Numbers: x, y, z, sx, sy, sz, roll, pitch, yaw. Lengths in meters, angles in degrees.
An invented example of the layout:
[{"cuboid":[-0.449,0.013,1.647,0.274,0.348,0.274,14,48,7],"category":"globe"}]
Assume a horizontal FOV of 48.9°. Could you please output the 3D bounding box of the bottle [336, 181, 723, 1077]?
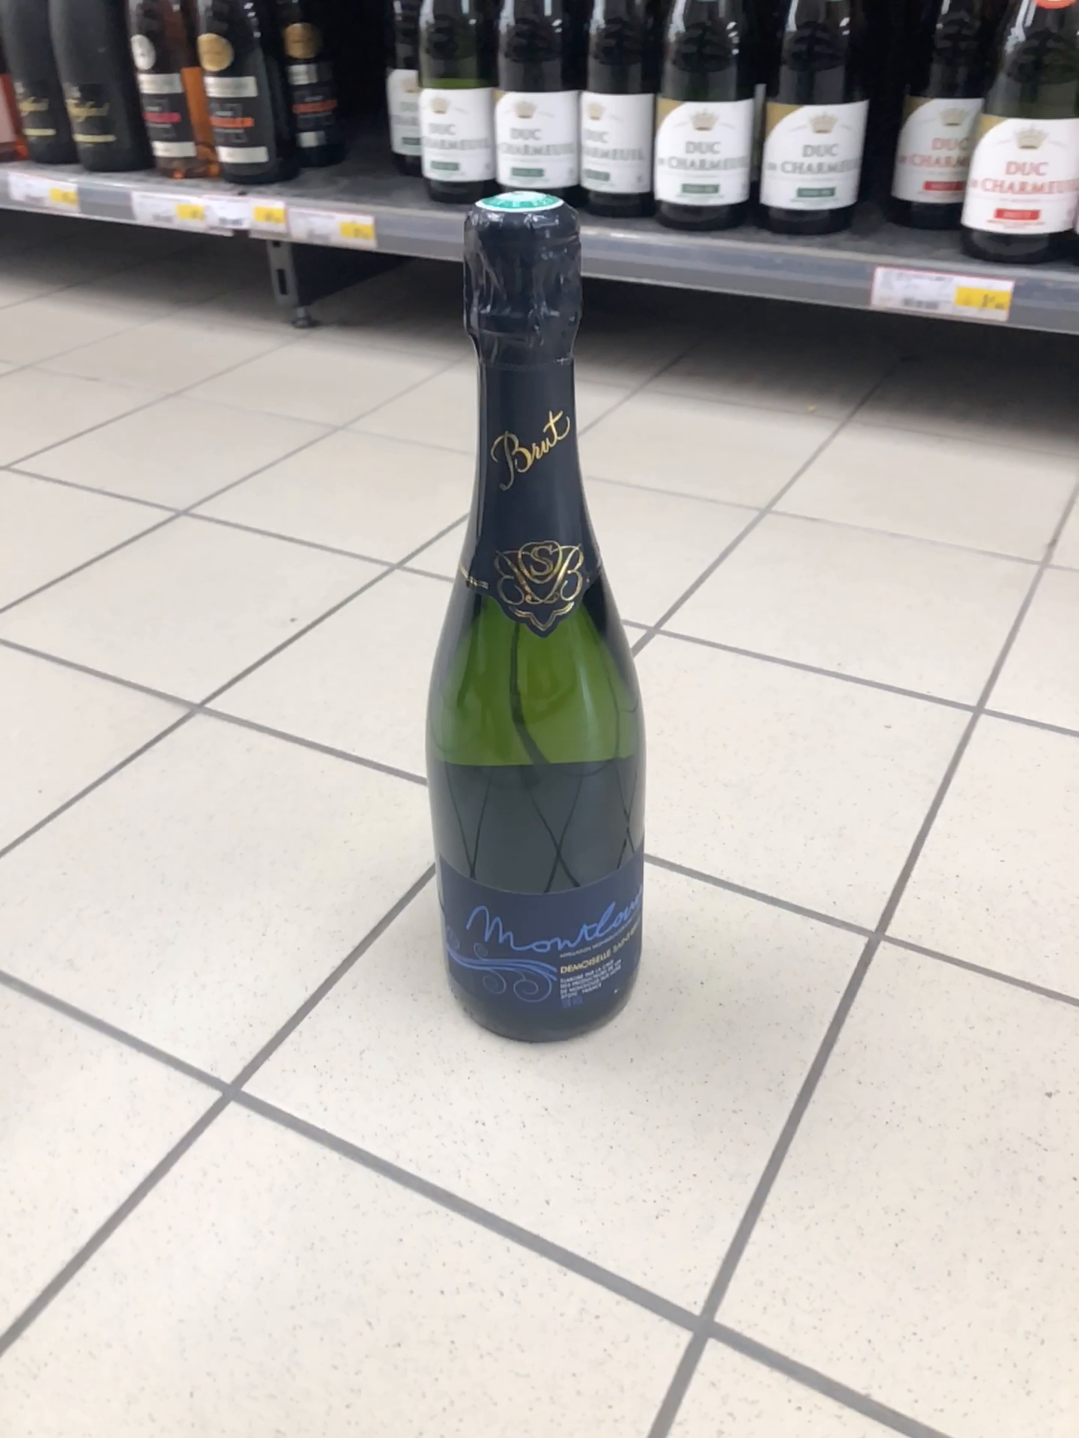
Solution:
[{"cuboid":[-0.003,-0.019,0.435,0.090,0.308,0.090,-1,33,1],"category":"bottle"}]
